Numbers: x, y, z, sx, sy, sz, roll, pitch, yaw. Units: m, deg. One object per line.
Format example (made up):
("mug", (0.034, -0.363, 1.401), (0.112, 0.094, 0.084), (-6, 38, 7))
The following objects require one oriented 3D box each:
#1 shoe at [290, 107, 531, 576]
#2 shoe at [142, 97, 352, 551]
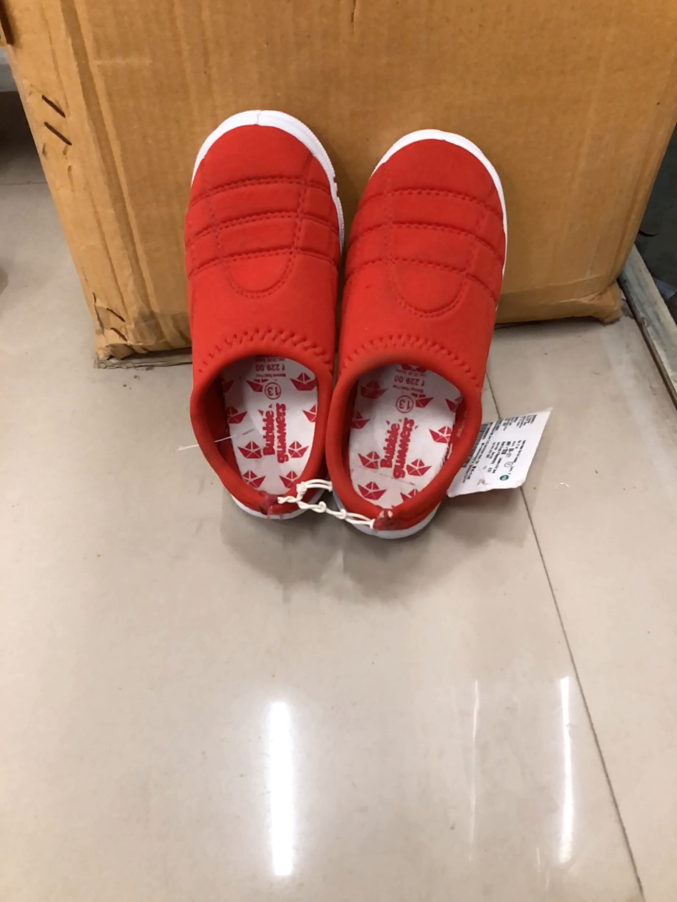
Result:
("shoe", (0.038, -0.055, 0.388), (0.084, 0.208, 0.081), (9, 10, 11))
("shoe", (-0.039, -0.061, 0.385), (0.084, 0.204, 0.082), (-2, 12, 1))
